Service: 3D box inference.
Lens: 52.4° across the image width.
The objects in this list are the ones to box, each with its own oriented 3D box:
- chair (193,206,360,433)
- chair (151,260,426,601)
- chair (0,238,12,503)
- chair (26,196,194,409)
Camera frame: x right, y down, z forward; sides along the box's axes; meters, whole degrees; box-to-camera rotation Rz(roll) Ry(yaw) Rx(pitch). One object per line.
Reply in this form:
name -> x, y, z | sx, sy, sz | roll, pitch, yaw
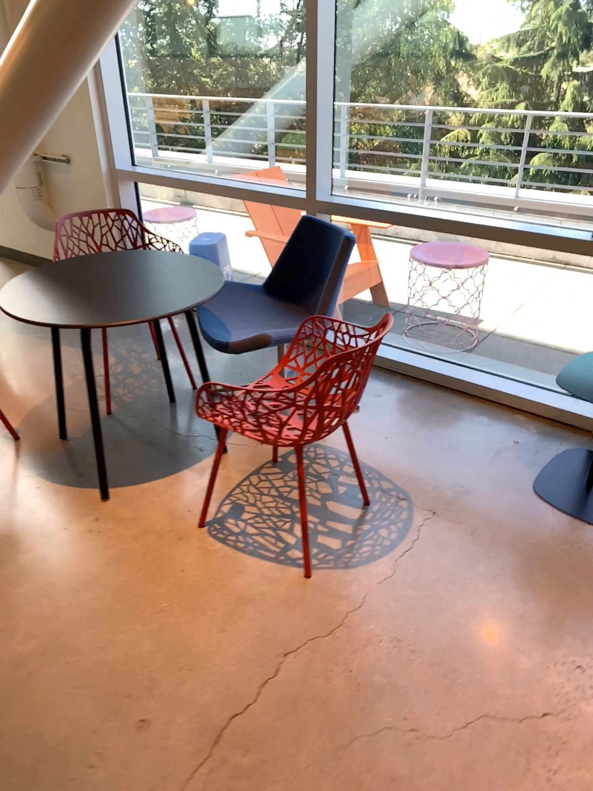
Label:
chair -> -0.099, -0.356, 2.631 | 0.510, 0.766, 0.563 | -12, 31, -19
chair -> -0.009, 0.067, 1.889 | 0.562, 0.766, 0.551 | 20, 35, 32
chair -> -1.564, -0.118, 2.250 | 0.531, 0.766, 0.563 | 7, 30, 13
chair -> -0.854, -0.451, 2.784 | 0.560, 0.766, 0.533 | -13, 31, -20
